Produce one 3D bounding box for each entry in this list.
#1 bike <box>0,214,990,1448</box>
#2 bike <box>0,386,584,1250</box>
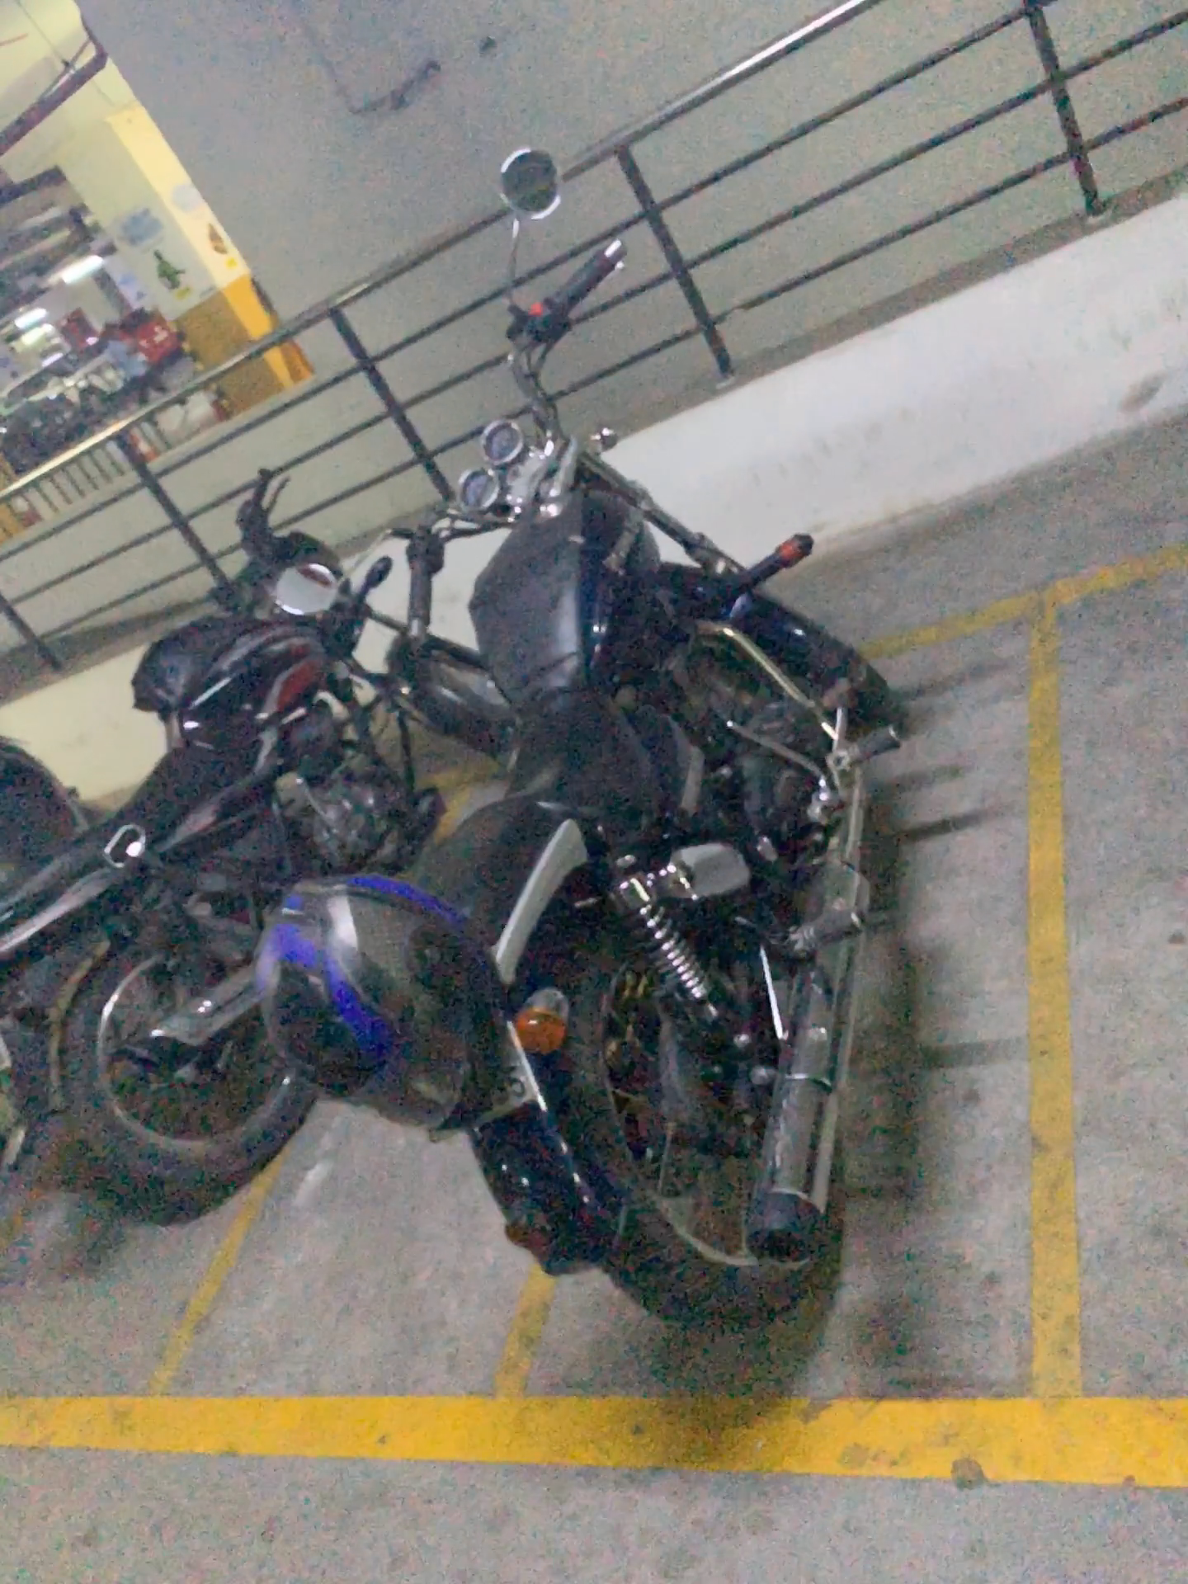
[{"bbox_3d":[-0.101,-0.038,2.184,0.843,1.303,1.672,-22,30,19],"label":"bike"},{"bbox_3d":[-0.867,0.019,2.944,0.596,1.192,1.503,-5,40,42],"label":"bike"}]
